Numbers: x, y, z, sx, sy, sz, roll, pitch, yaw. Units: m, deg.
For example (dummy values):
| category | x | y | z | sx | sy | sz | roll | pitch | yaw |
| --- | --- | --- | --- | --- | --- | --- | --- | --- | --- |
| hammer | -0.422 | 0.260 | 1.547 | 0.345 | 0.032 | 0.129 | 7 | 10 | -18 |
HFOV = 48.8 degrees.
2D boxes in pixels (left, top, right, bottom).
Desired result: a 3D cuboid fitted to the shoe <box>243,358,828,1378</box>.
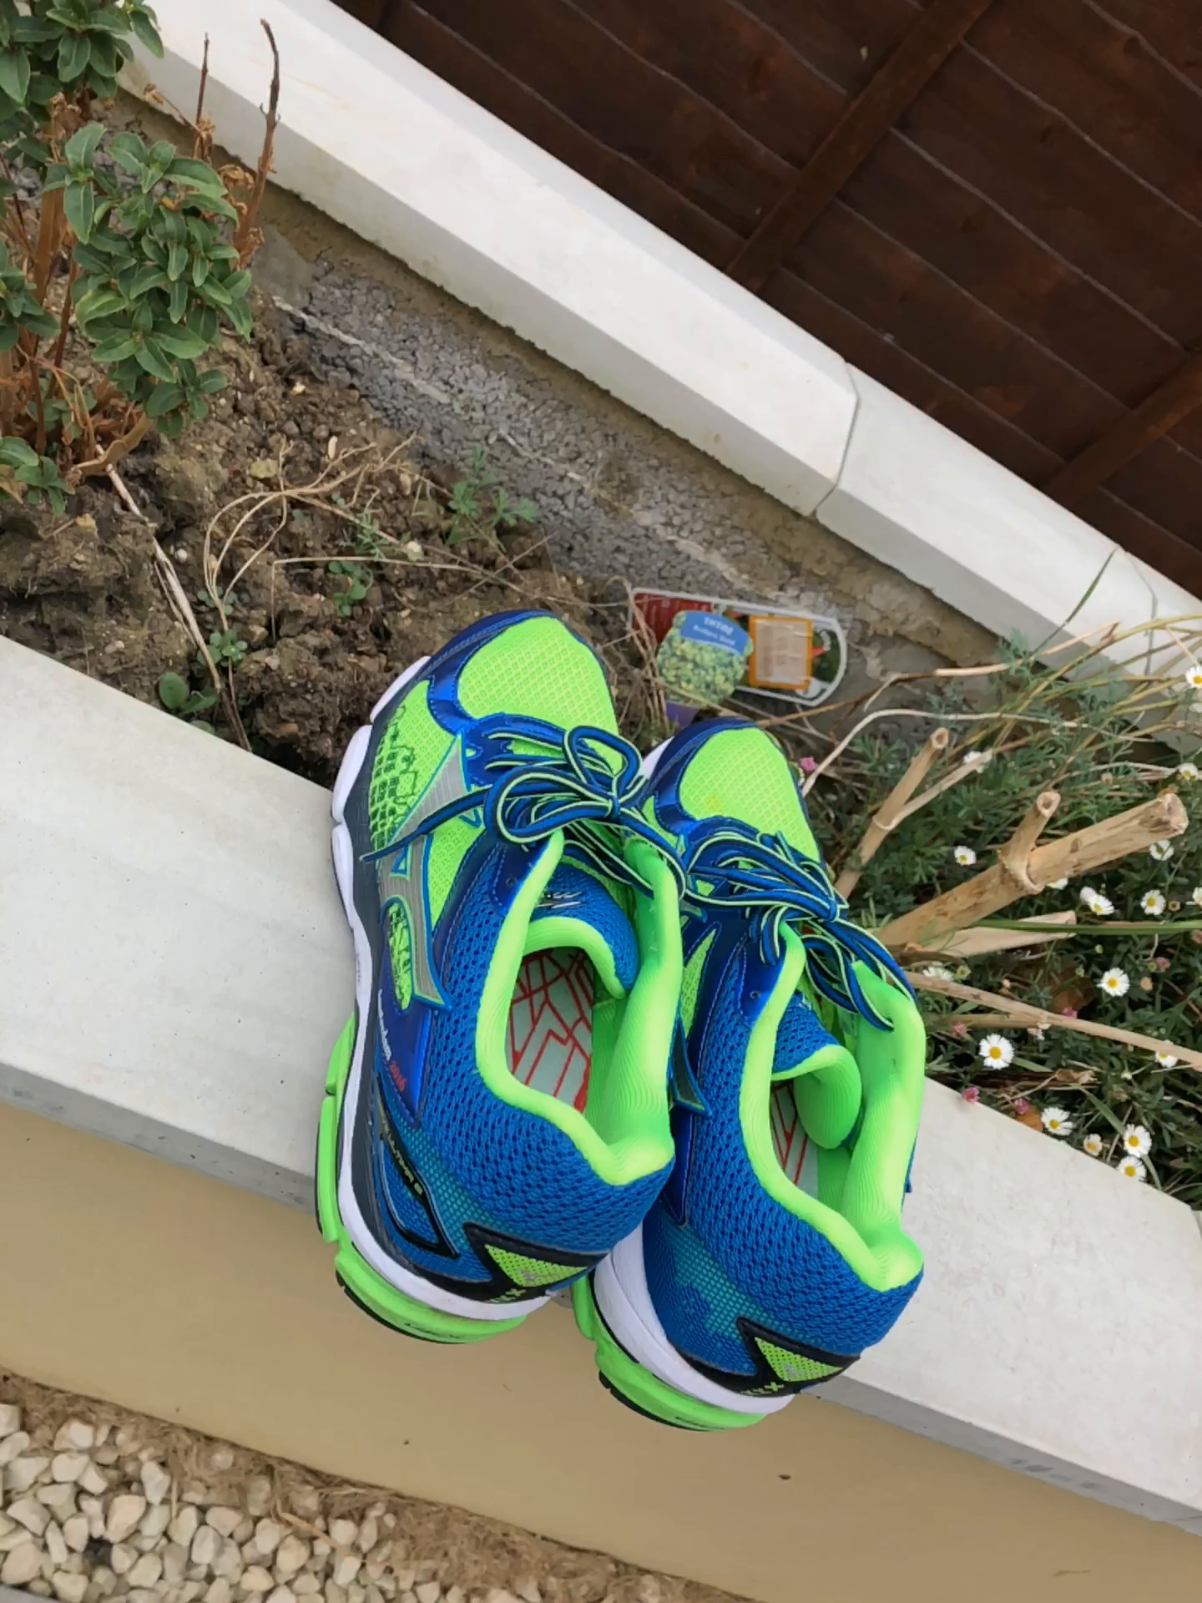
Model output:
| category | x | y | z | sx | sy | sz | roll | pitch | yaw |
| --- | --- | --- | --- | --- | --- | --- | --- | --- | --- |
| shoe | -0.016 | 0.015 | 0.431 | 0.110 | 0.119 | 0.291 | 20 | 52 | -23 |

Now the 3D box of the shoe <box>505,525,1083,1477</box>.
| category | x | y | z | sx | sy | sz | roll | pitch | yaw |
| --- | --- | --- | --- | --- | --- | --- | --- | --- | --- |
| shoe | 0.065 | 0.057 | 0.468 | 0.110 | 0.119 | 0.292 | 26 | 45 | -19 |
